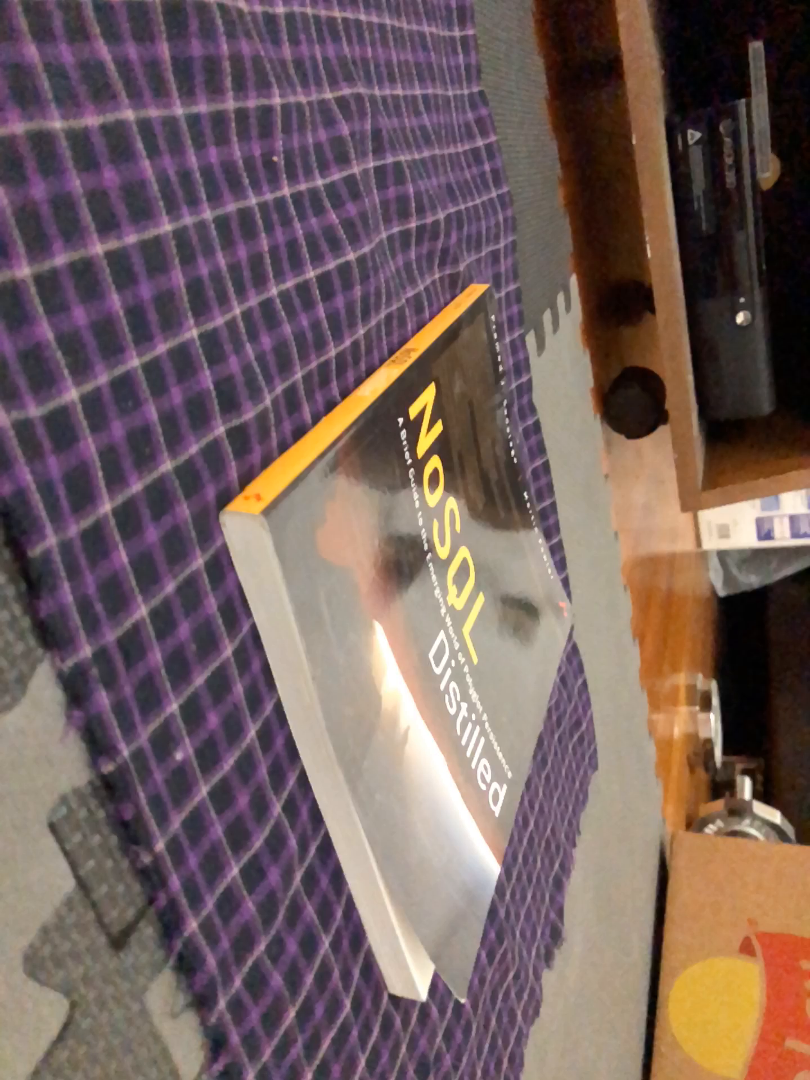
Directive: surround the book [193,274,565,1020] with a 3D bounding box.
[{"bbox_3d":[0.018,0.017,0.365,0.251,0.020,0.190,-57,136,-56],"label":"book"}]
